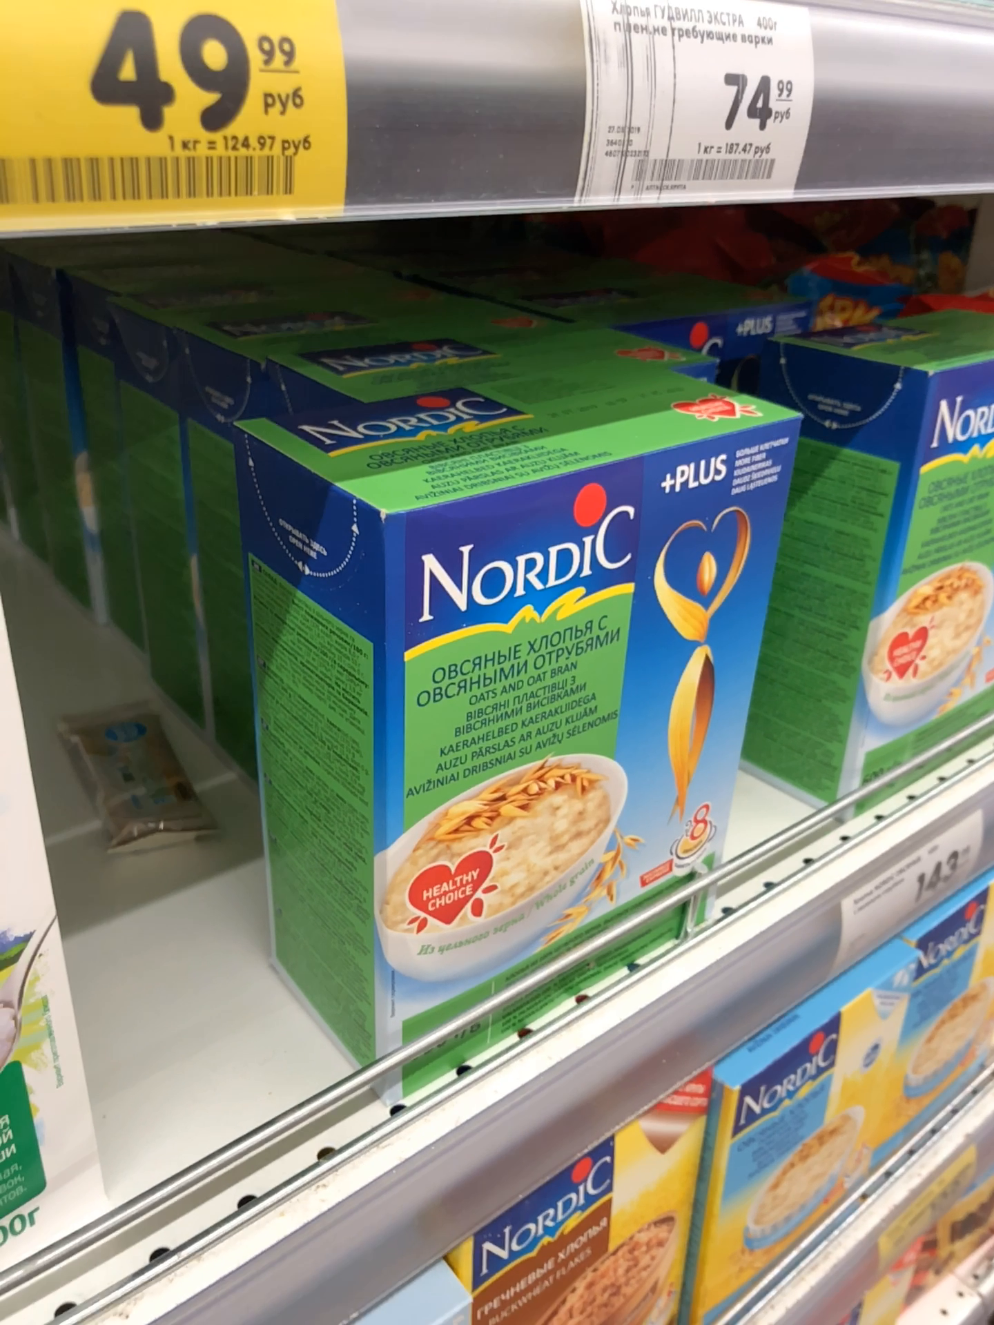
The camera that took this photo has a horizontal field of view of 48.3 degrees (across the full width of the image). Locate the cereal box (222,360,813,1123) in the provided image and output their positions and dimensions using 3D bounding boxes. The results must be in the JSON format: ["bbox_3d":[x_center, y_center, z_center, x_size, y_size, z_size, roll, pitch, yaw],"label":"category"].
[{"bbox_3d":[0.006,0.017,0.345,0.150,0.189,0.070,-19,35,-34],"label":"cereal box"}]
